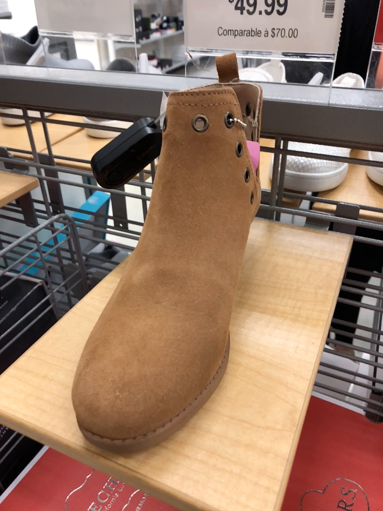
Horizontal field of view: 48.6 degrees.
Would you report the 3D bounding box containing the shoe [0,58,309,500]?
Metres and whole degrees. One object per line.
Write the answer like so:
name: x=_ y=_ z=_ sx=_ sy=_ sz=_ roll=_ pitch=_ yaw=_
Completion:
shoe: x=-0.001 y=-0.031 z=0.272 sx=0.092 sy=0.129 sz=0.282 roll=11 pitch=36 yaw=18
